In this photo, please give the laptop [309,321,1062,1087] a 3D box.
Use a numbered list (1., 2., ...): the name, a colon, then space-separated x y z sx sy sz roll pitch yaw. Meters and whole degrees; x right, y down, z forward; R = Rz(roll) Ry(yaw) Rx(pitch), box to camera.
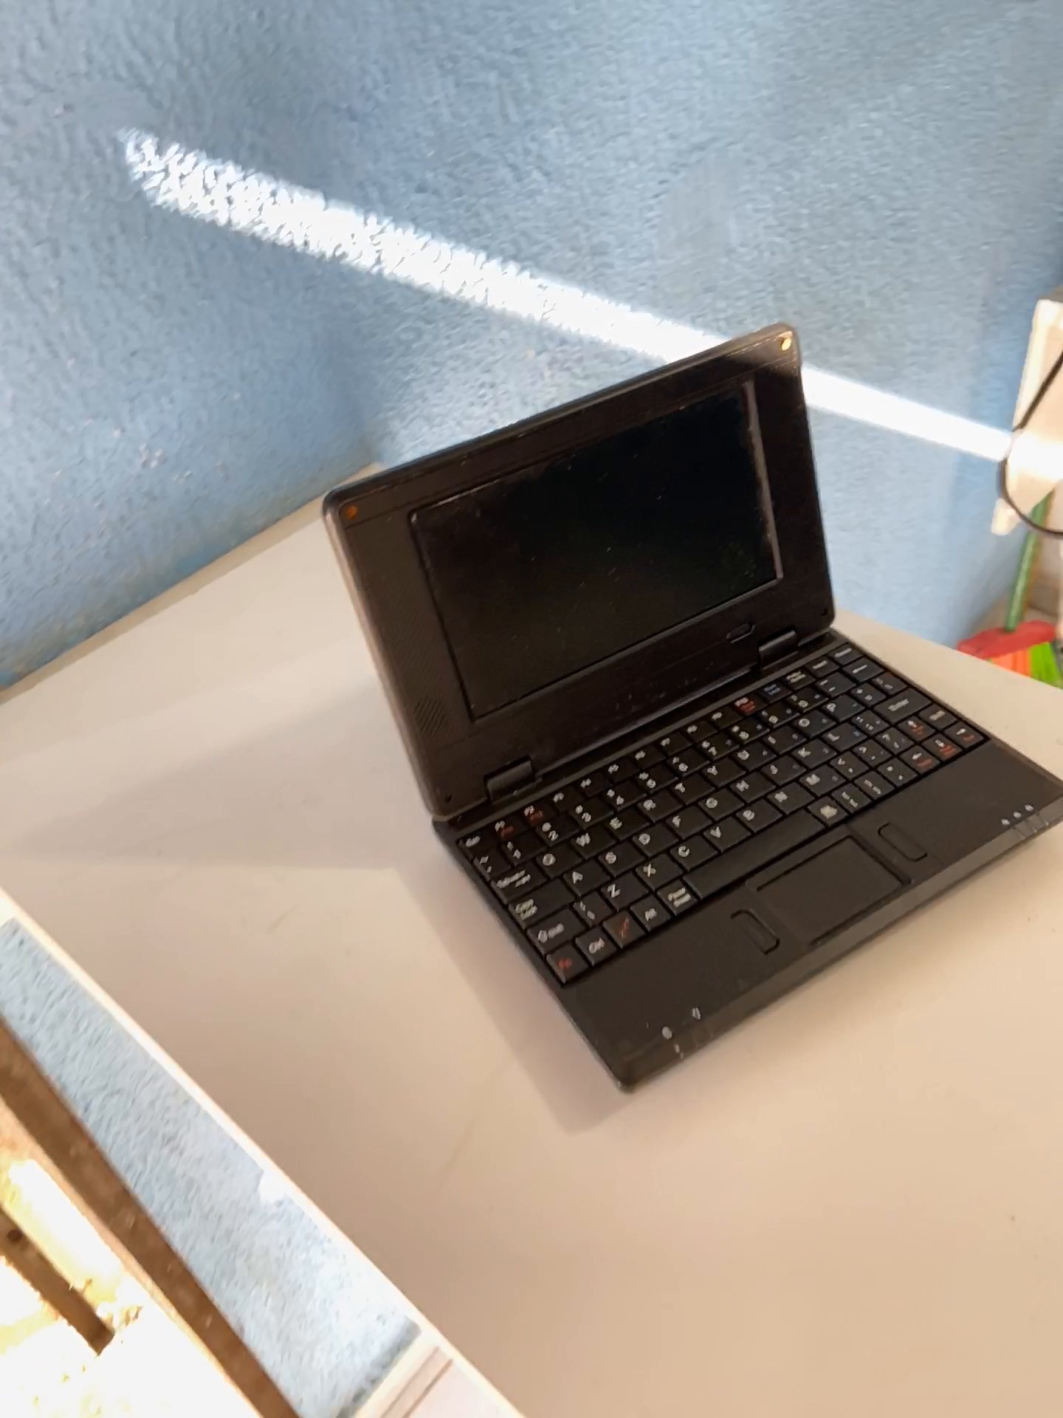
1. laptop: 0.068 -0.020 0.405 0.216 0.137 0.179 -25 44 -19
